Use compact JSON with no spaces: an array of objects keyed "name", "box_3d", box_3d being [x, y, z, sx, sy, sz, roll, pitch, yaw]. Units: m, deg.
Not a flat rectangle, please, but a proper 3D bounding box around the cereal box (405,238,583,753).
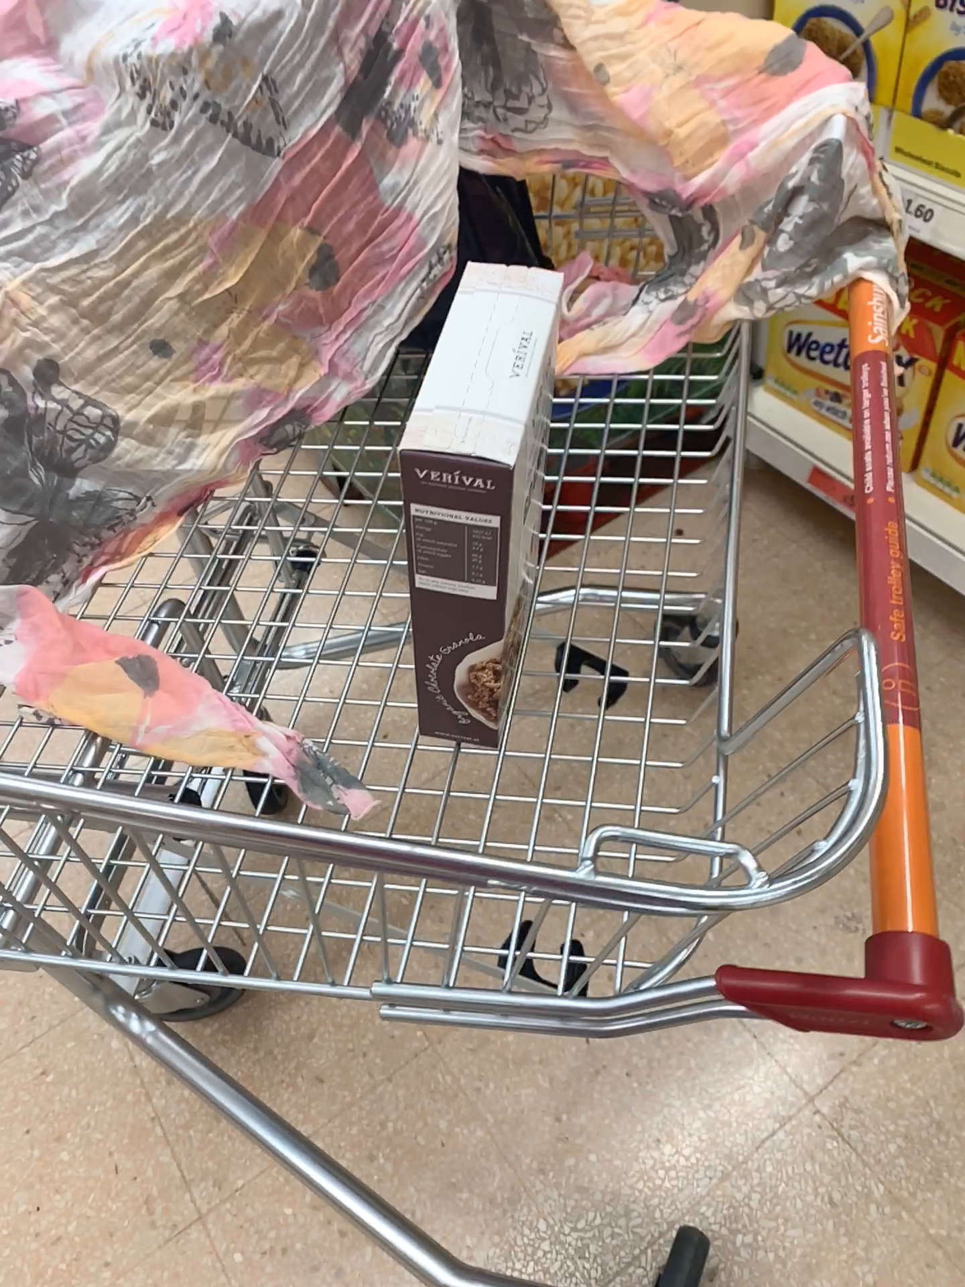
[{"name":"cereal box","box_3d":[0.006,-0.066,0.506,0.050,0.218,0.141,10,52,6]}]
